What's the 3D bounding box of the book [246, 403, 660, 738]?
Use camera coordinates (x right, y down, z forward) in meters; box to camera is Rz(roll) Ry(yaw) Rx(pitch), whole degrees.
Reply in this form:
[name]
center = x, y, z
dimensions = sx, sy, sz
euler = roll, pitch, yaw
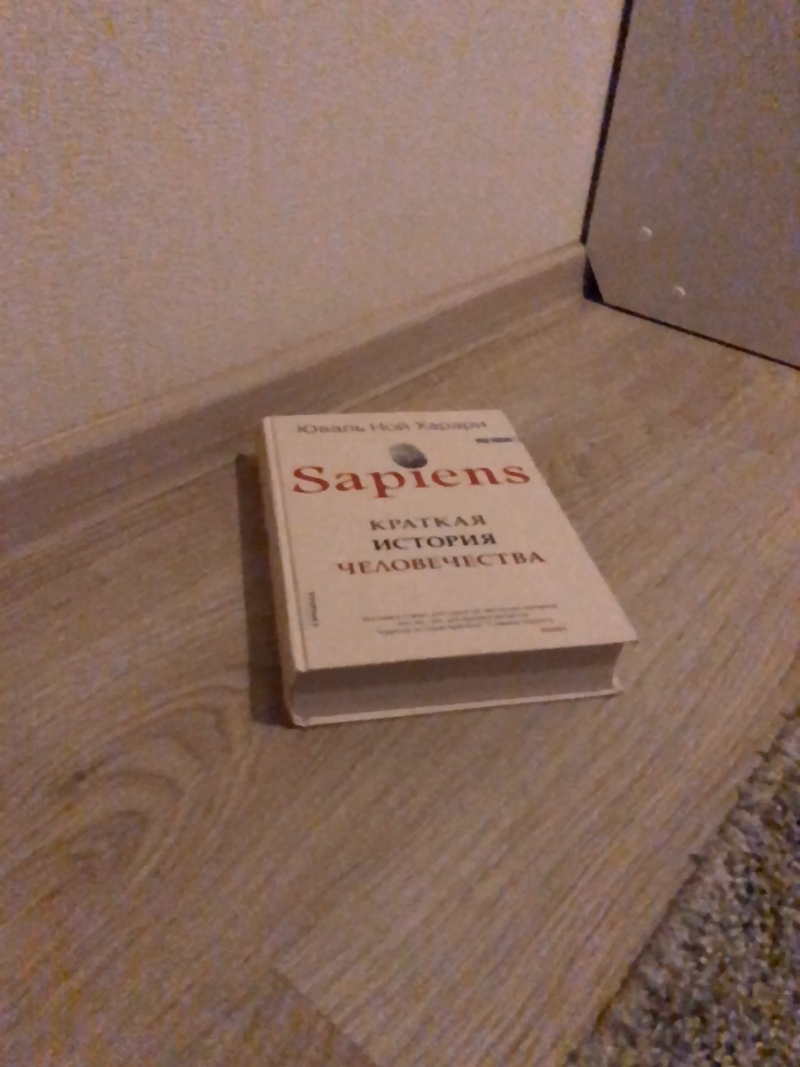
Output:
[book]
center = 0.009, 0.001, 0.520
dimensions = 0.187, 0.040, 0.259
euler = -3, 35, -11
